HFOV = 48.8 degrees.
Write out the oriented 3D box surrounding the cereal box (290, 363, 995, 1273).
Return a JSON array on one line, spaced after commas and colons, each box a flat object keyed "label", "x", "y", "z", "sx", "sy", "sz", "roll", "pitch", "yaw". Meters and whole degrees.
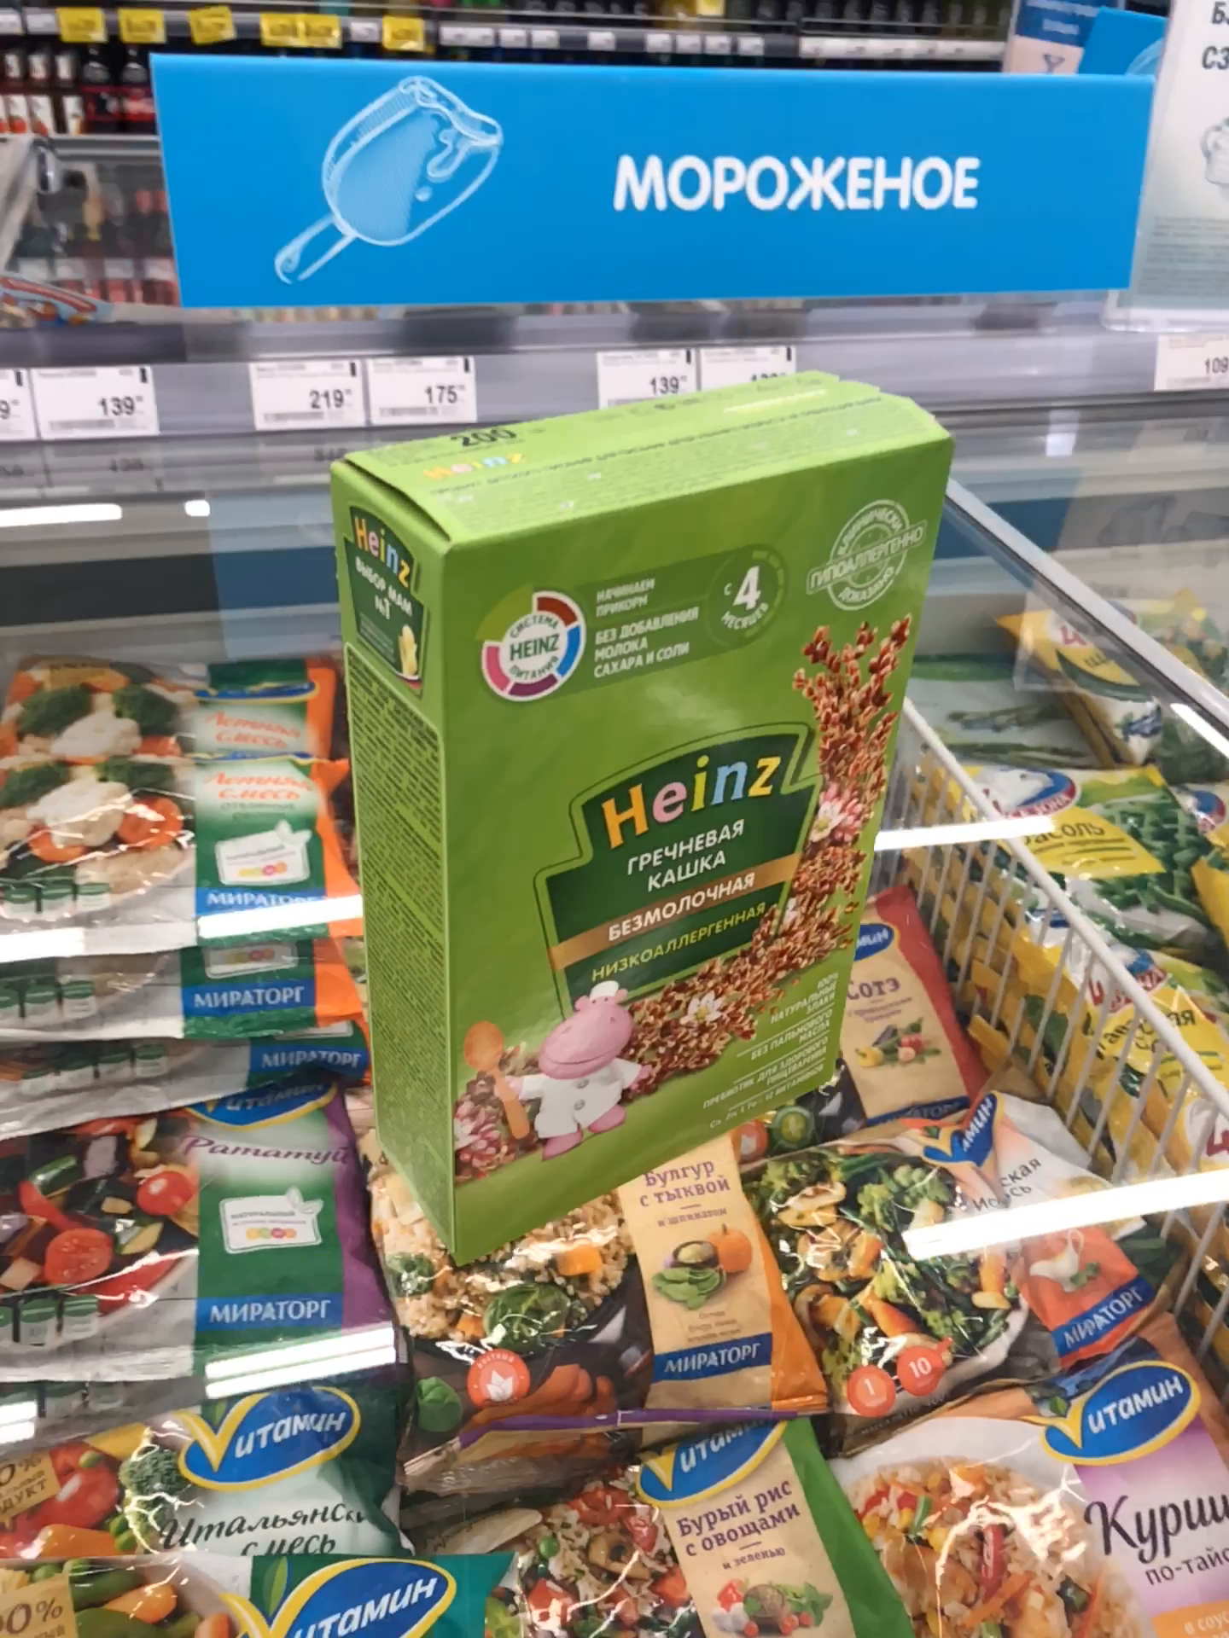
[{"label": "cereal box", "x": 0.006, "y": 0.001, "z": 0.328, "sx": 0.140, "sy": 0.189, "sz": 0.050, "roll": -19, "pitch": 40, "yaw": -29}]
